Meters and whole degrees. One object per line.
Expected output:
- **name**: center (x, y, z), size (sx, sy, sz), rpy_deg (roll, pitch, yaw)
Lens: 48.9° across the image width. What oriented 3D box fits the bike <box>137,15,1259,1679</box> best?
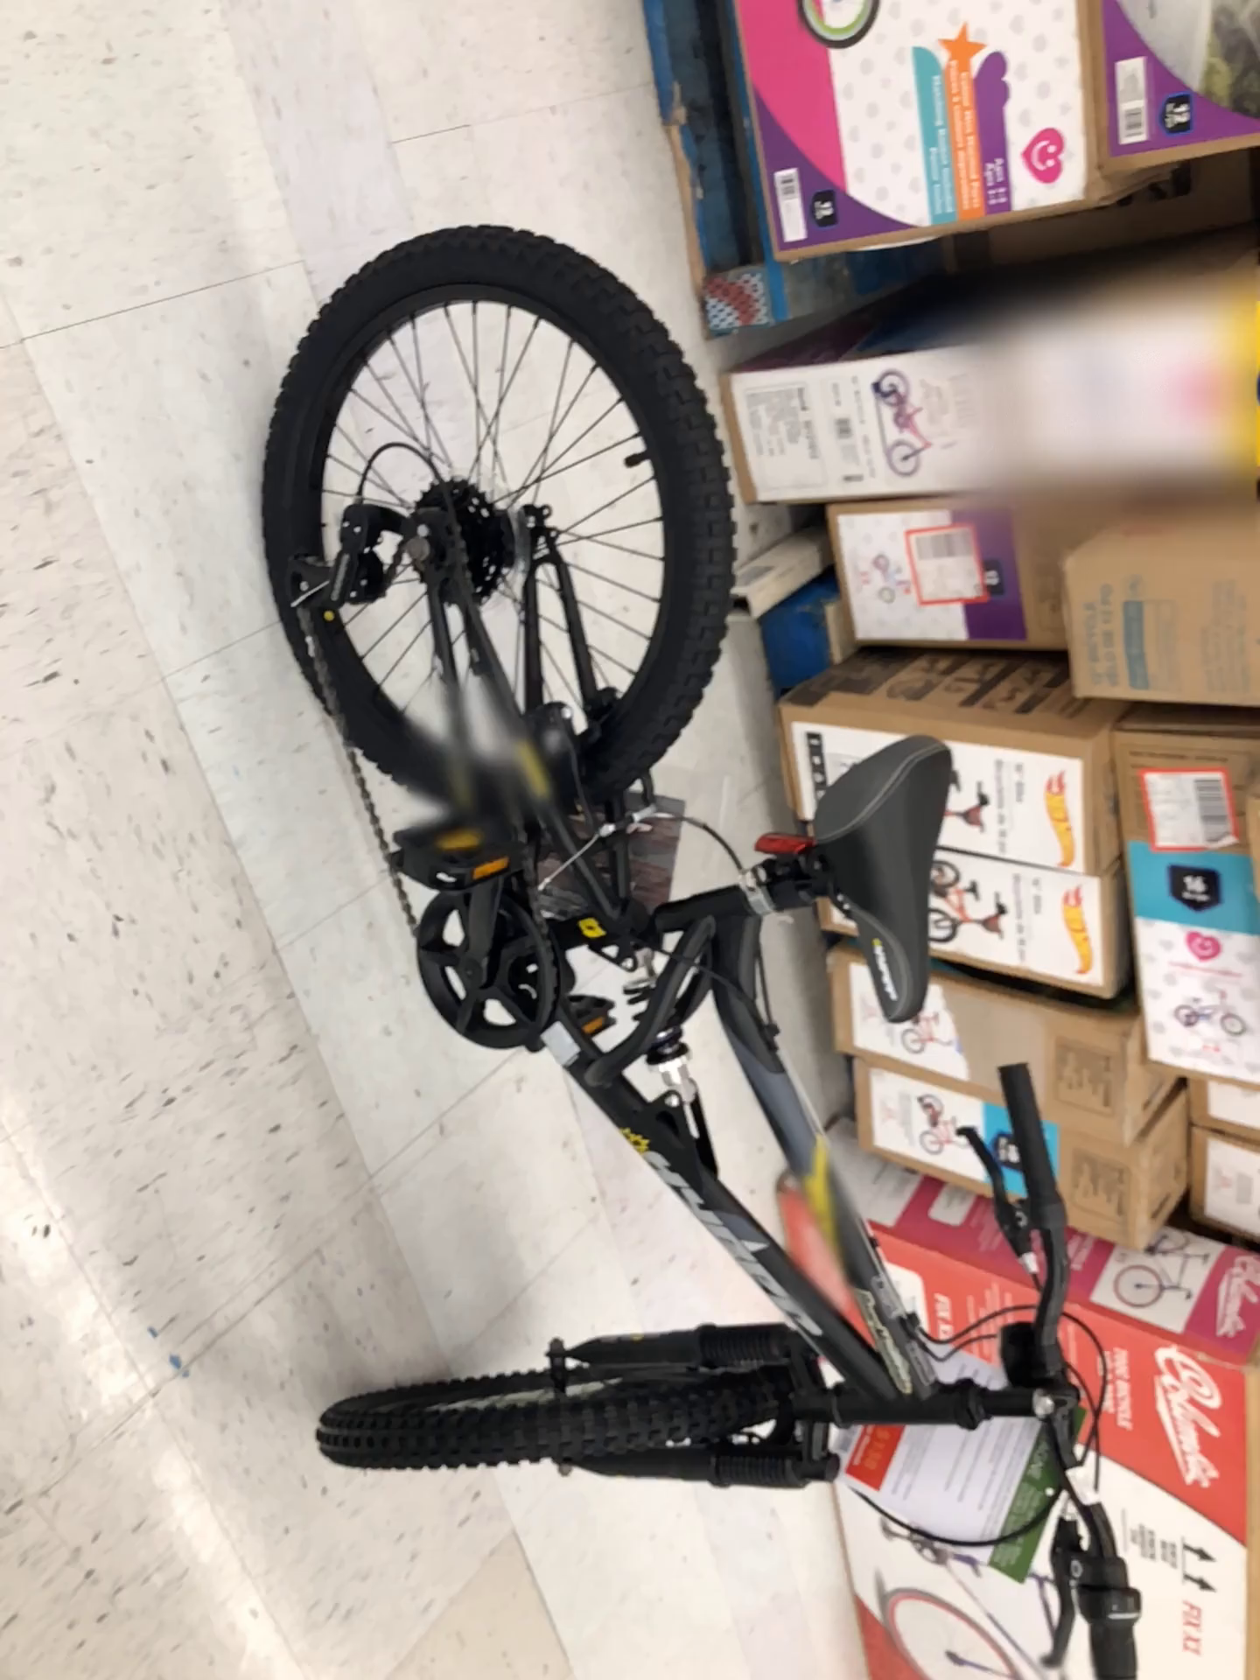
- **bike**: center (0.233, 0.074, 1.348), size (0.525, 0.849, 1.260), rpy_deg (-32, 118, -42)
